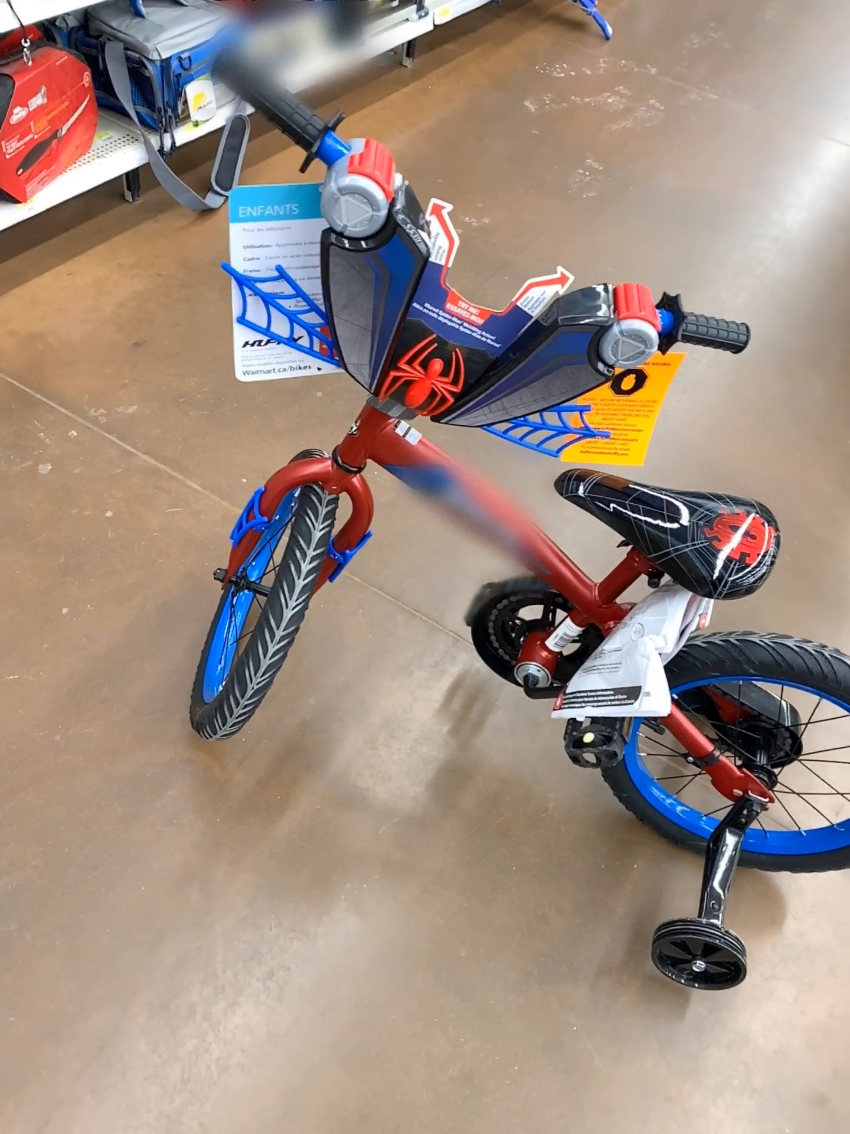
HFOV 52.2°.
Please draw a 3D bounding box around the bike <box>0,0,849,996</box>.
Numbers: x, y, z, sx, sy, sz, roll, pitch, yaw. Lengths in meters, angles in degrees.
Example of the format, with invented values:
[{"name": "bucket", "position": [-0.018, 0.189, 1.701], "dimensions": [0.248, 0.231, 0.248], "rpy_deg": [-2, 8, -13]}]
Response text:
[{"name": "bike", "position": [0.119, -0.004, 0.769], "dimensions": [0.565, 0.709, 0.477], "rpy_deg": [12, 48, 1]}]
